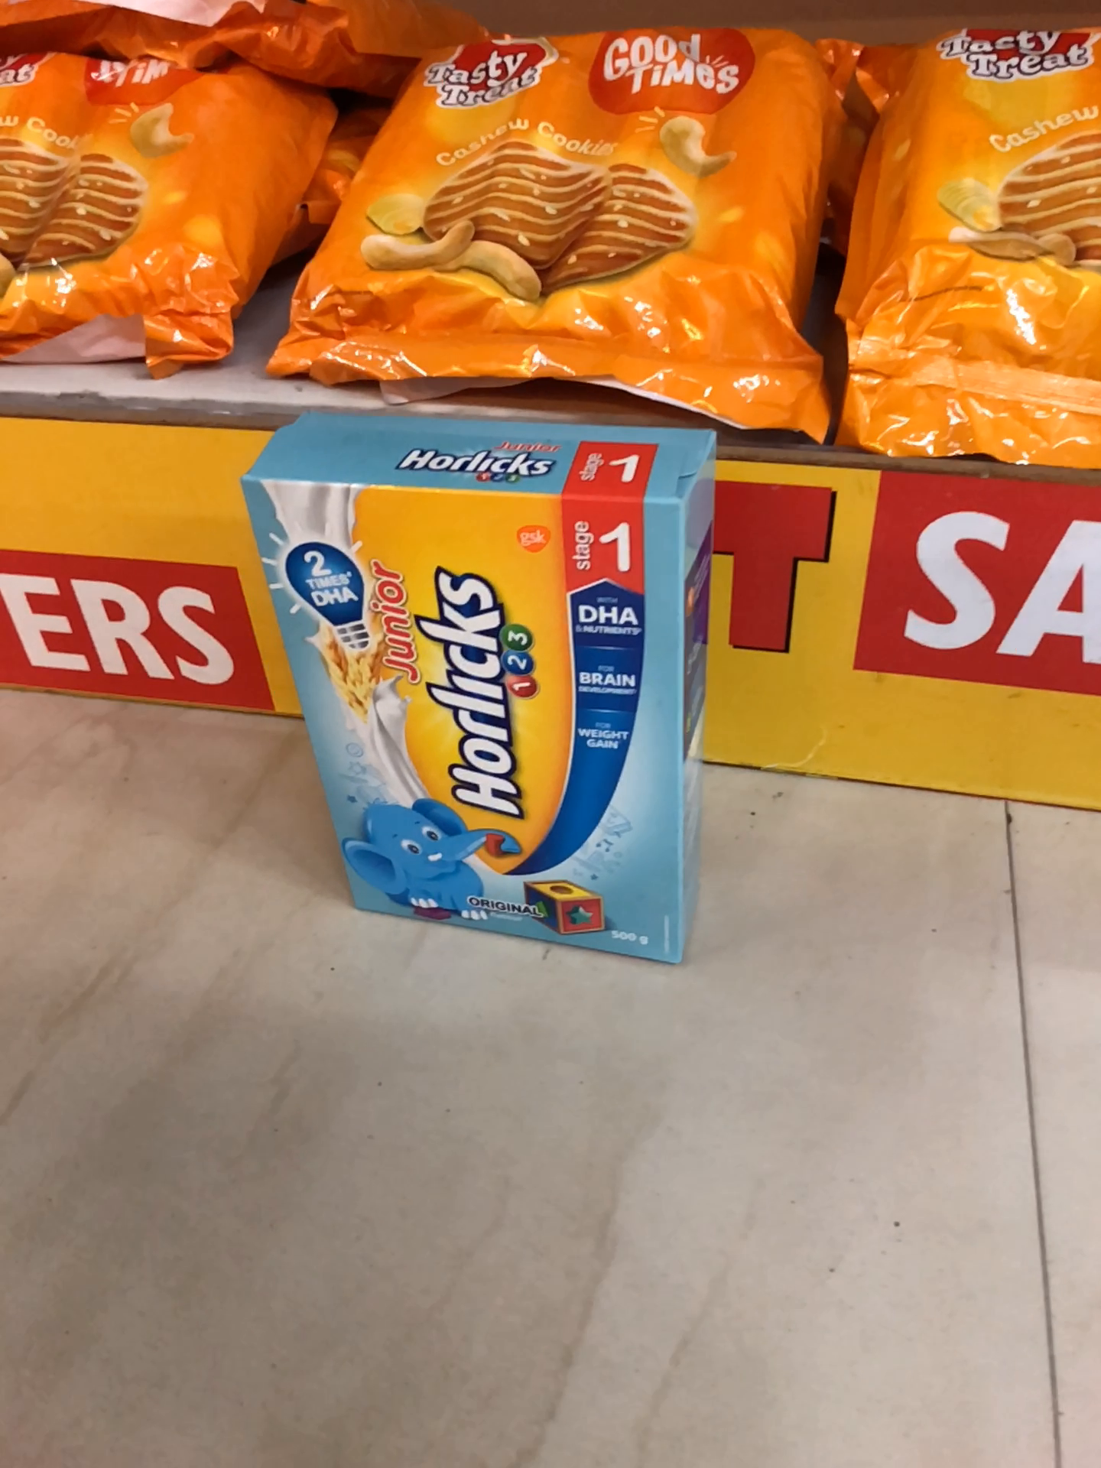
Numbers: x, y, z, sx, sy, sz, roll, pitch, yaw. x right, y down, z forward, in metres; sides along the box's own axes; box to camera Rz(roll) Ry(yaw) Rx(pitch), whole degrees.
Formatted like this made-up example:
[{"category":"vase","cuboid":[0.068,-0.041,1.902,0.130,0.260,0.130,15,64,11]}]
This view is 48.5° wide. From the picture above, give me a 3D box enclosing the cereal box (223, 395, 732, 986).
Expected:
[{"category":"cereal box","cuboid":[-0.012,-0.009,0.418,0.140,0.199,0.050,7,41,16]}]
